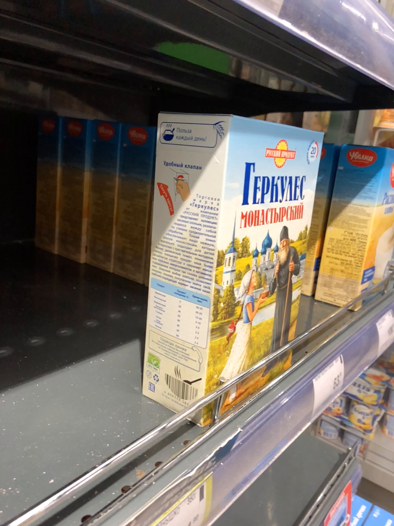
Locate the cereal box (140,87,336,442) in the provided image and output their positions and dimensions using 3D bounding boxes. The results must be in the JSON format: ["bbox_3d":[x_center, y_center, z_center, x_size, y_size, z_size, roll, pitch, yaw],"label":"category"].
[{"bbox_3d":[0.032,-0.006,0.307,0.060,0.199,0.130,13,16,34],"label":"cereal box"}]
